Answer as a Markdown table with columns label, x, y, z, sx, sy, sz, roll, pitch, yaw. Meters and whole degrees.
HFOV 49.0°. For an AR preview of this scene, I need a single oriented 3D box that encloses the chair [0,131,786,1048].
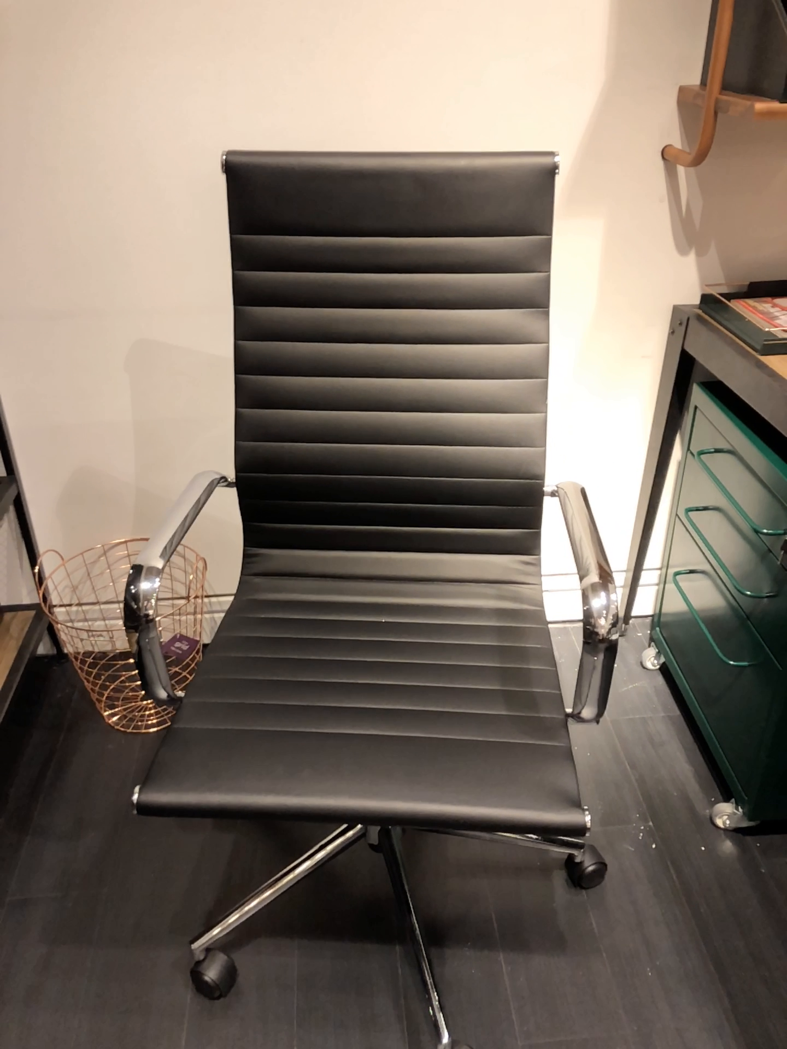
| label | x | y | z | sx | sy | sz | roll | pitch | yaw |
| --- | --- | --- | --- | --- | --- | --- | --- | --- | --- |
| chair | 0.004 | 0.105 | 1.127 | 0.680 | 1.052 | 0.665 | 1 | 31 | 4 |
